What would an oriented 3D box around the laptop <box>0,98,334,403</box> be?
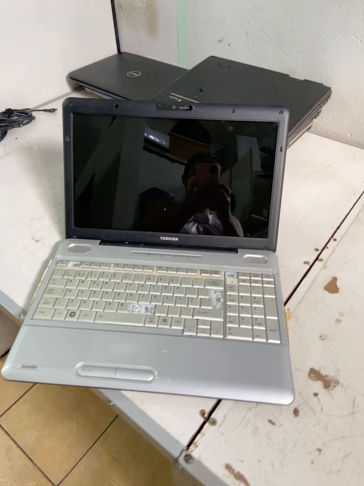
[{"bbox_3d":[-0.030,-0.025,0.540,0.370,0.190,0.401,3,45,5],"label":"laptop"}]
